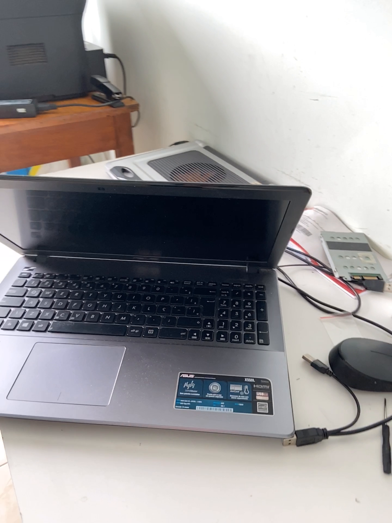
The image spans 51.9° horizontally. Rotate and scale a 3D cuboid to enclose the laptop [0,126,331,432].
[{"bbox_3d":[-0.081,-0.002,0.427,0.364,0.190,0.247,3,37,5],"label":"laptop"}]
